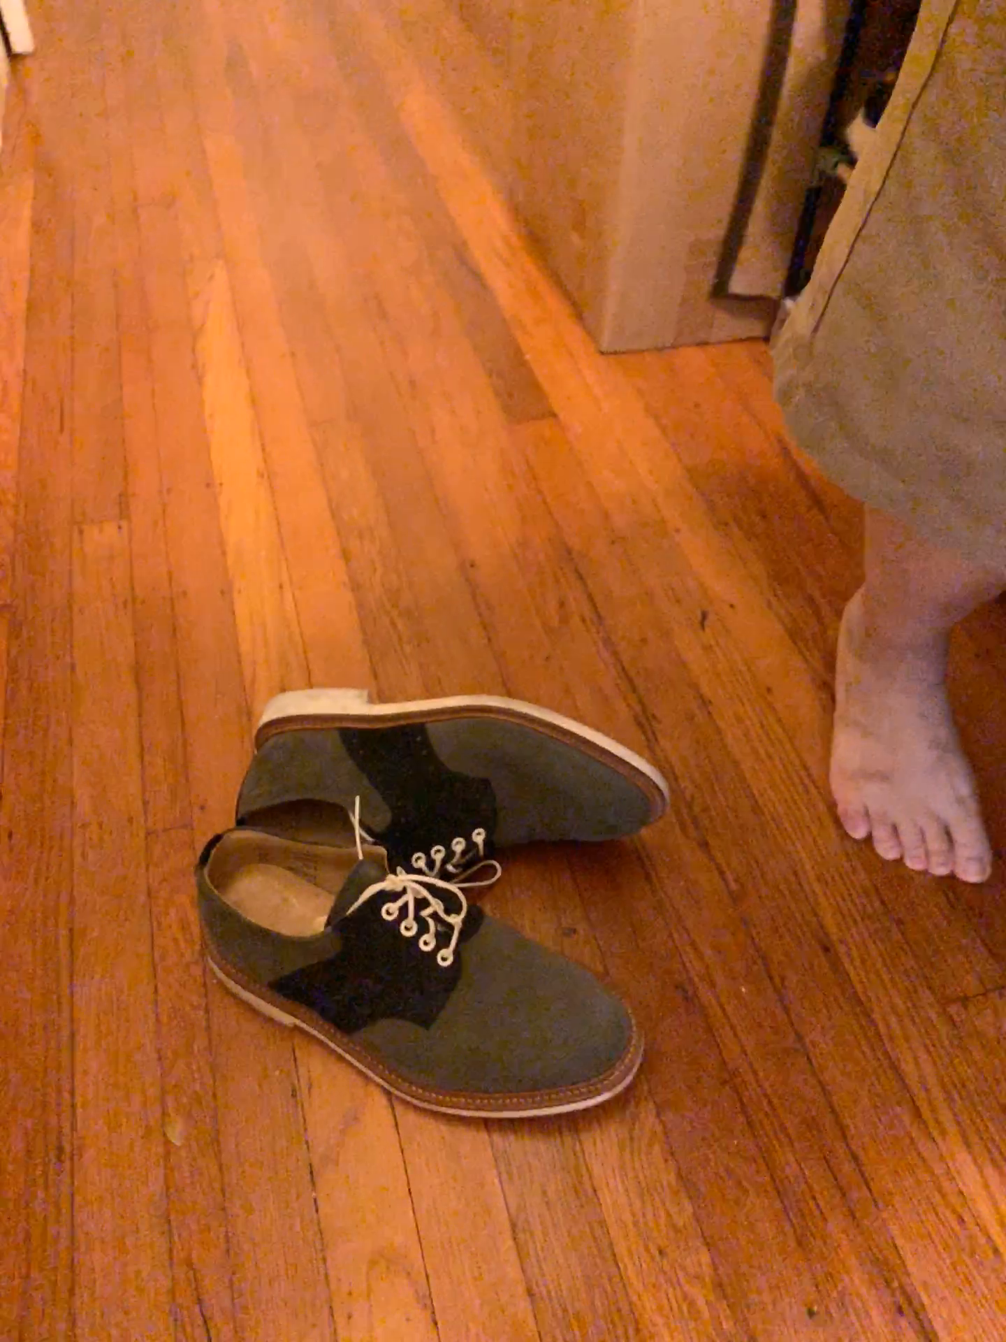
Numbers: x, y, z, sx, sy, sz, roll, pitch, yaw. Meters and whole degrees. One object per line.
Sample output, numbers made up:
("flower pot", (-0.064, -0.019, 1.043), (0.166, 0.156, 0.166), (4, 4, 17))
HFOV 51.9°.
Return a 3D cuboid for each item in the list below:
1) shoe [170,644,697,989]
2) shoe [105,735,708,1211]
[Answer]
("shoe", (-0.041, 0.097, 0.701), (0.310, 0.129, 0.120), (11, 52, 8))
("shoe", (-0.055, 0.169, 0.612), (0.310, 0.100, 0.130), (20, 51, 15))
